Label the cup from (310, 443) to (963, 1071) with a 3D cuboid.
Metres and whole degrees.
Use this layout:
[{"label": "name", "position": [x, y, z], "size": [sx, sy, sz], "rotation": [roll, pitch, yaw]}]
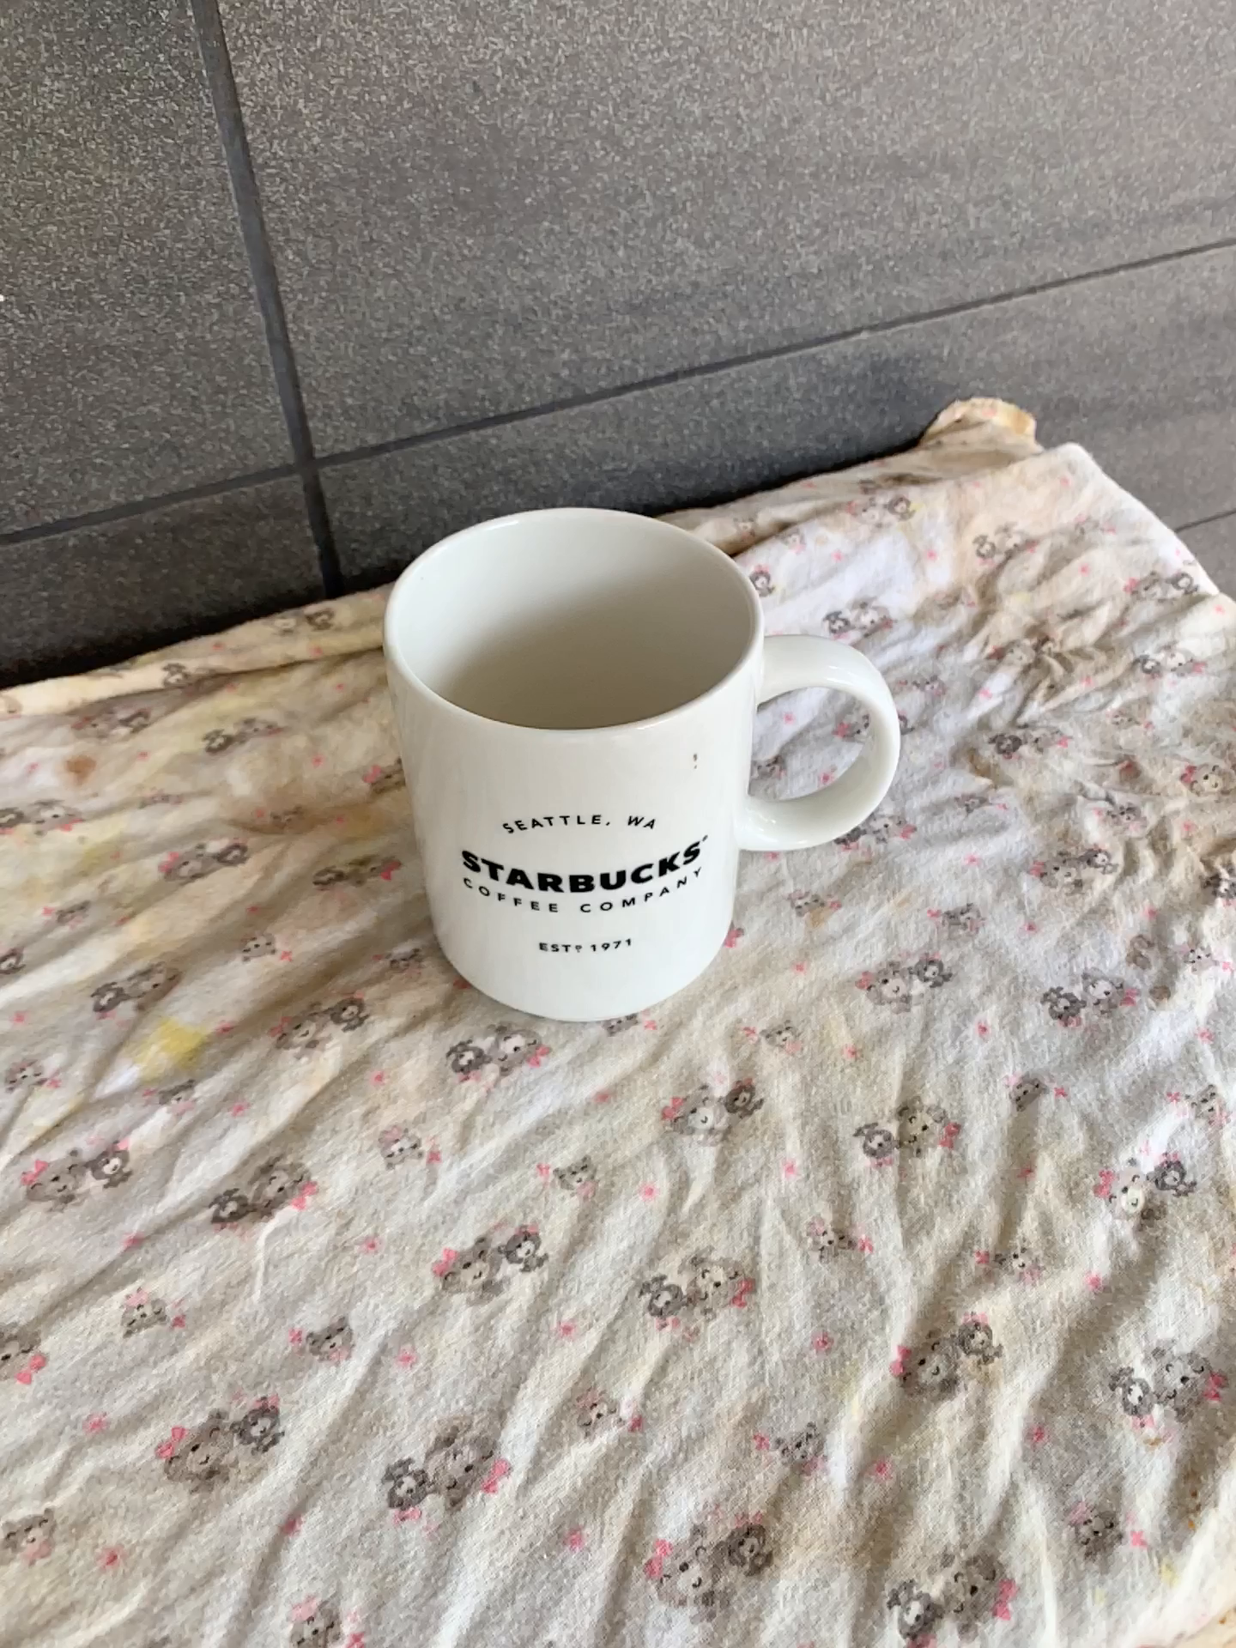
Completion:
[{"label": "cup", "position": [-0.001, -0.016, 0.322], "size": [0.130, 0.110, 0.090], "rotation": [-8, 47, -6]}]
